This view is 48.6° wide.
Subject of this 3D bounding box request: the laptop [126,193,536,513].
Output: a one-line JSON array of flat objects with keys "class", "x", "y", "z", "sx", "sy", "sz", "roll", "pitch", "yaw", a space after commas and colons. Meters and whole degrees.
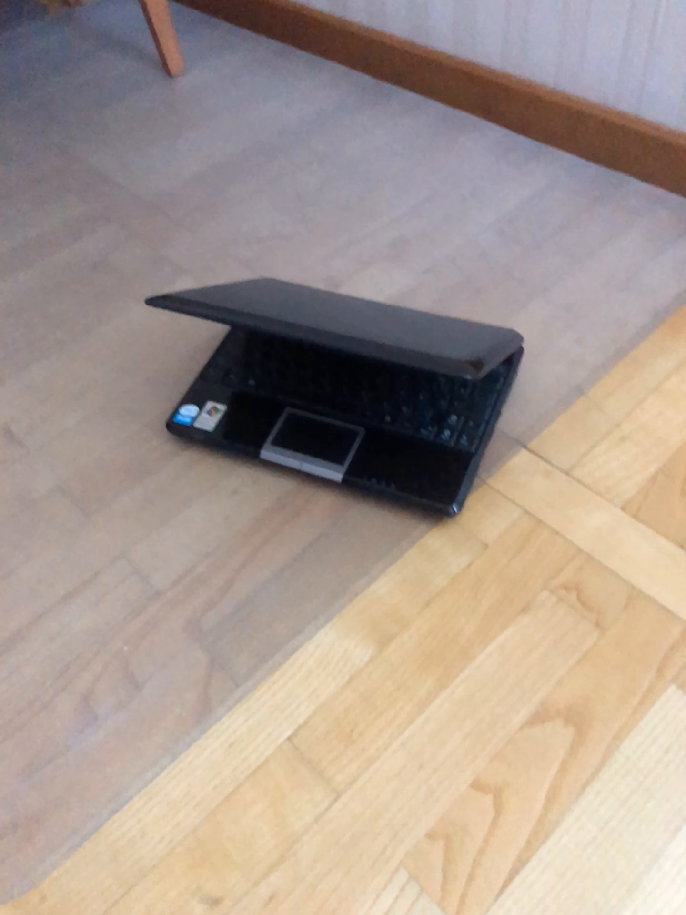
[{"class": "laptop", "x": -0.004, "y": -0.095, "z": 0.621, "sx": 0.263, "sy": 0.102, "sz": 0.183, "roll": 16, "pitch": 58, "yaw": 18}]
